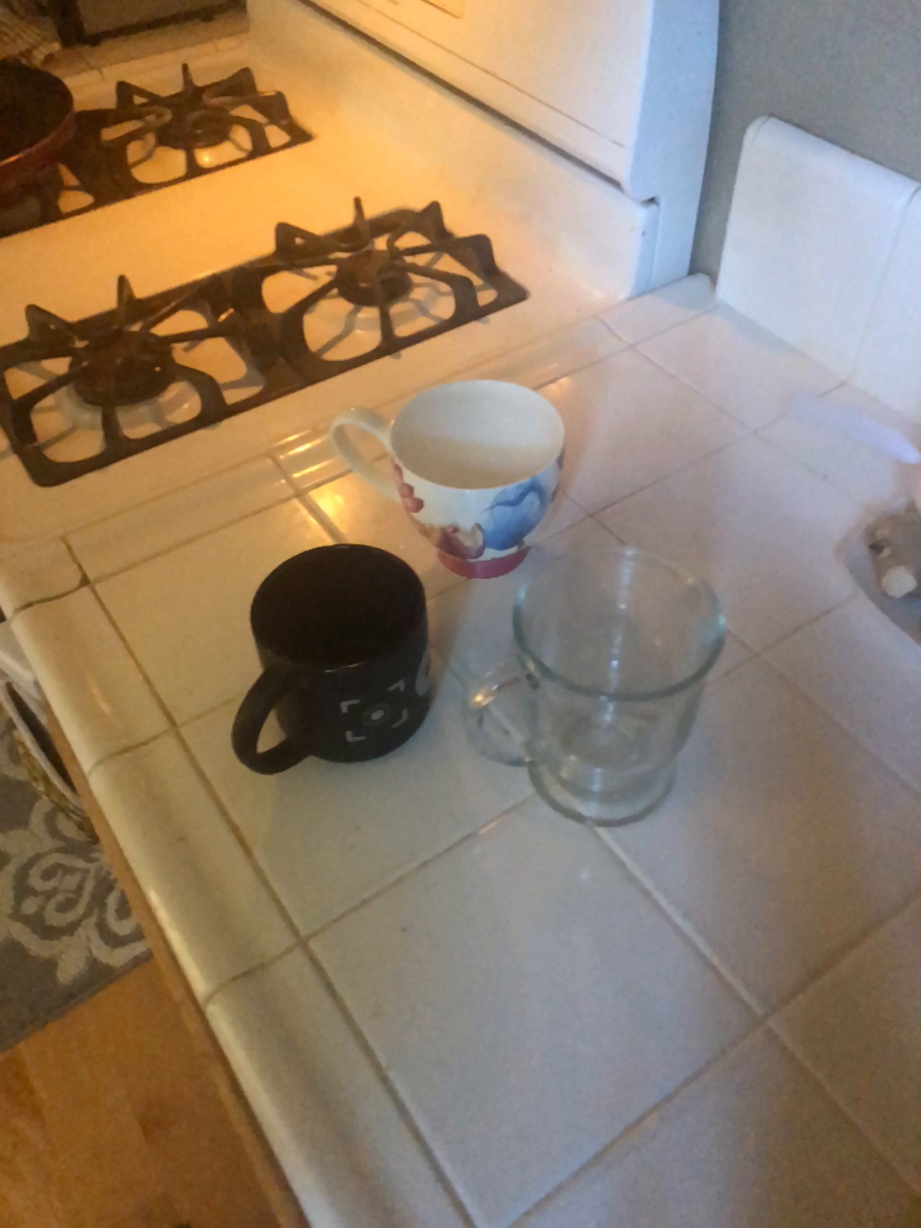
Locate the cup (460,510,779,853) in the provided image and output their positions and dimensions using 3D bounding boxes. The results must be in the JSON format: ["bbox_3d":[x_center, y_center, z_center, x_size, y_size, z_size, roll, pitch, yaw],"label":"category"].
[{"bbox_3d":[0.069,0.034,0.500,0.120,0.119,0.101,-8,49,-5],"label":"cup"}]

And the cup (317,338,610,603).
[{"bbox_3d":[0.004,-0.093,0.634,0.140,0.079,0.111,20,52,19],"label":"cup"}]

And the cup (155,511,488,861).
[{"bbox_3d":[-0.067,0.035,0.536,0.131,0.089,0.100,-37,57,-27],"label":"cup"}]
